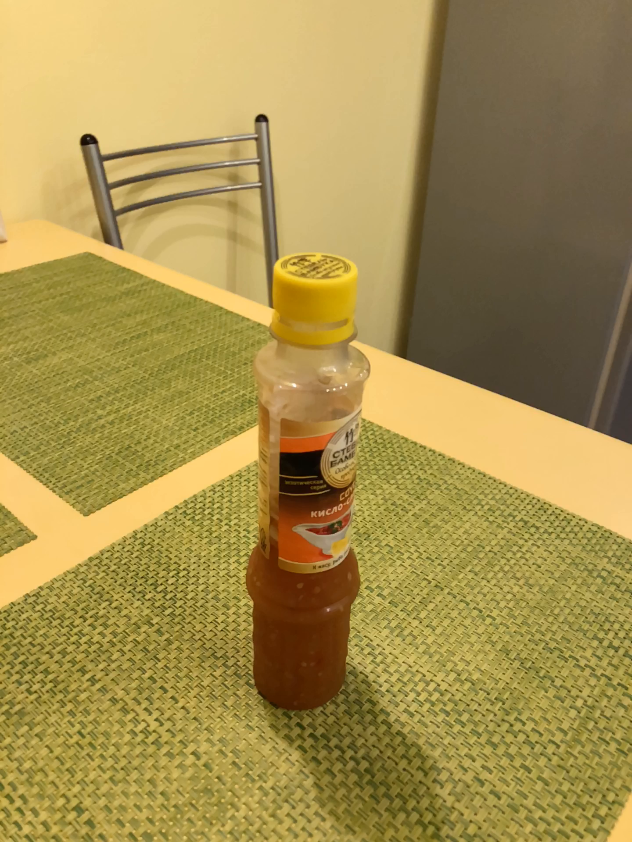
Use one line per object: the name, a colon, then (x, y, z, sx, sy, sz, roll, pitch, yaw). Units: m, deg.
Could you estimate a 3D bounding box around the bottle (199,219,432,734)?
bottle: (-0.004, 0.030, 0.296, 0.060, 0.208, 0.060, 3, 30, -1)
